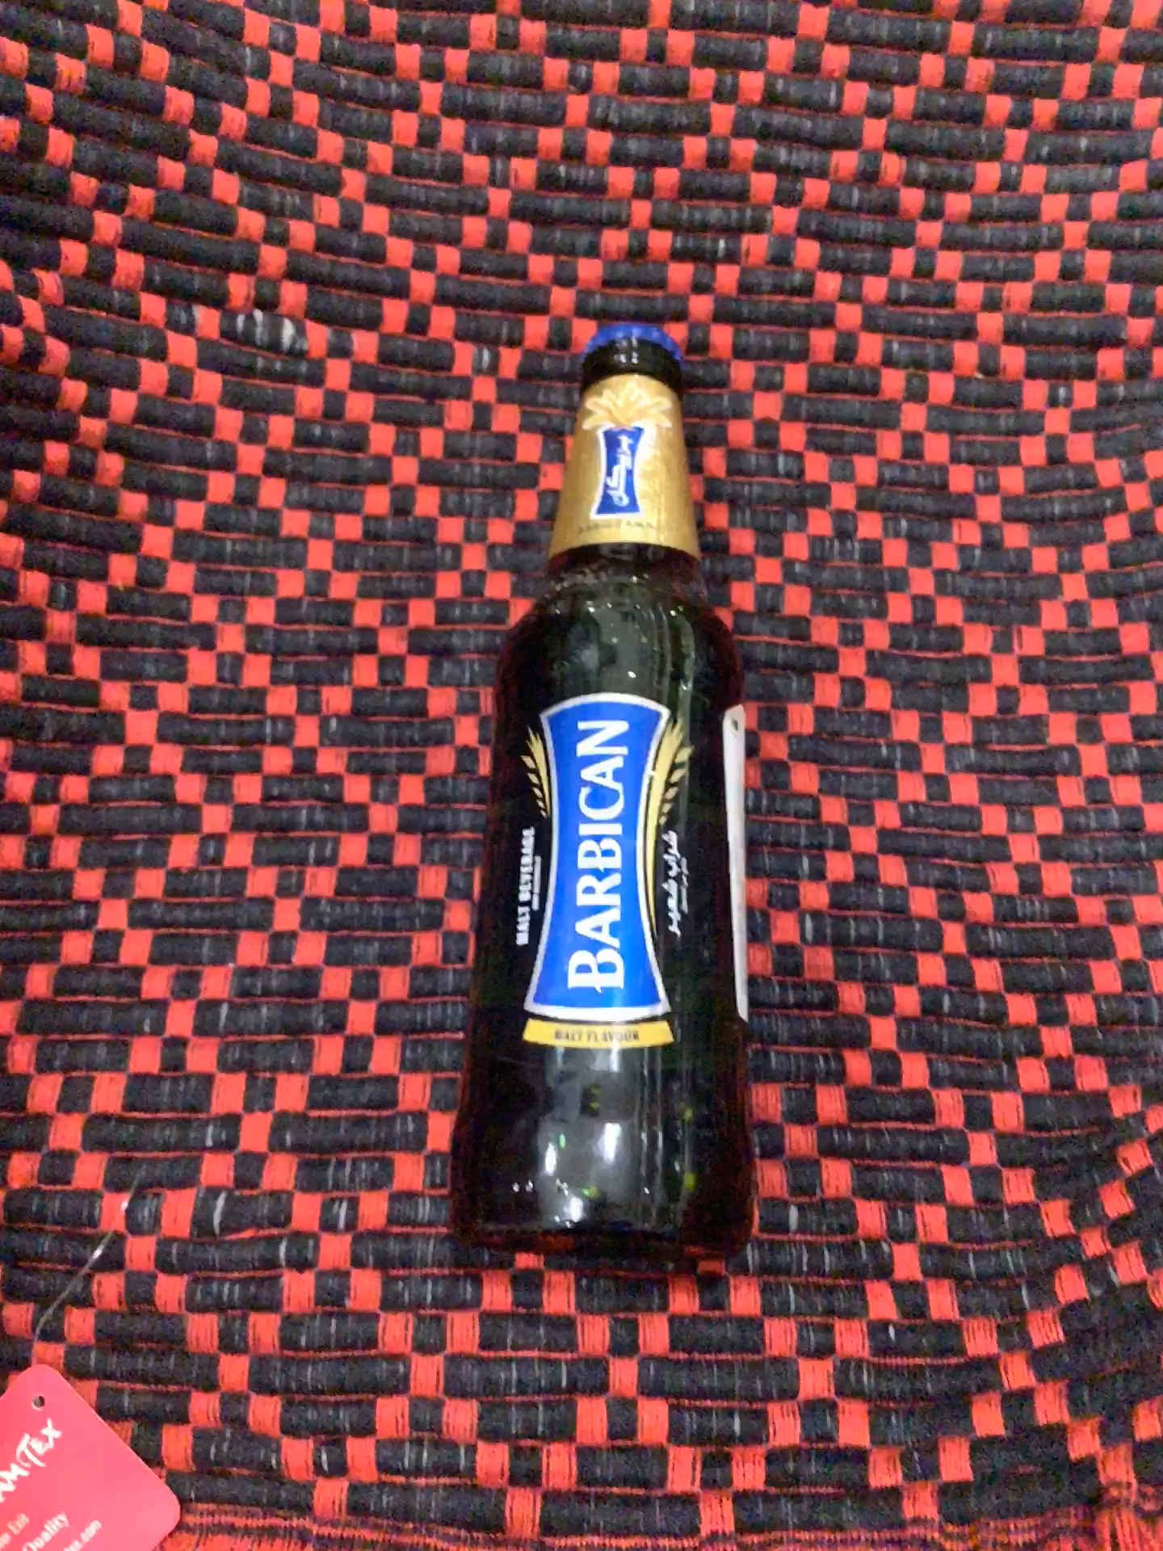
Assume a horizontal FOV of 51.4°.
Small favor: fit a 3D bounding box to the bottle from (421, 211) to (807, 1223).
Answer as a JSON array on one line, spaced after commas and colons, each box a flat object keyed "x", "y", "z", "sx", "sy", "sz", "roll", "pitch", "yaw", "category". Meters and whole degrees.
[{"x": 0.008, "y": -0.020, "z": 0.260, "sx": 0.060, "sy": 0.060, "sz": 0.210, "roll": 4, "pitch": 64, "yaw": -2, "category": "bottle"}]
